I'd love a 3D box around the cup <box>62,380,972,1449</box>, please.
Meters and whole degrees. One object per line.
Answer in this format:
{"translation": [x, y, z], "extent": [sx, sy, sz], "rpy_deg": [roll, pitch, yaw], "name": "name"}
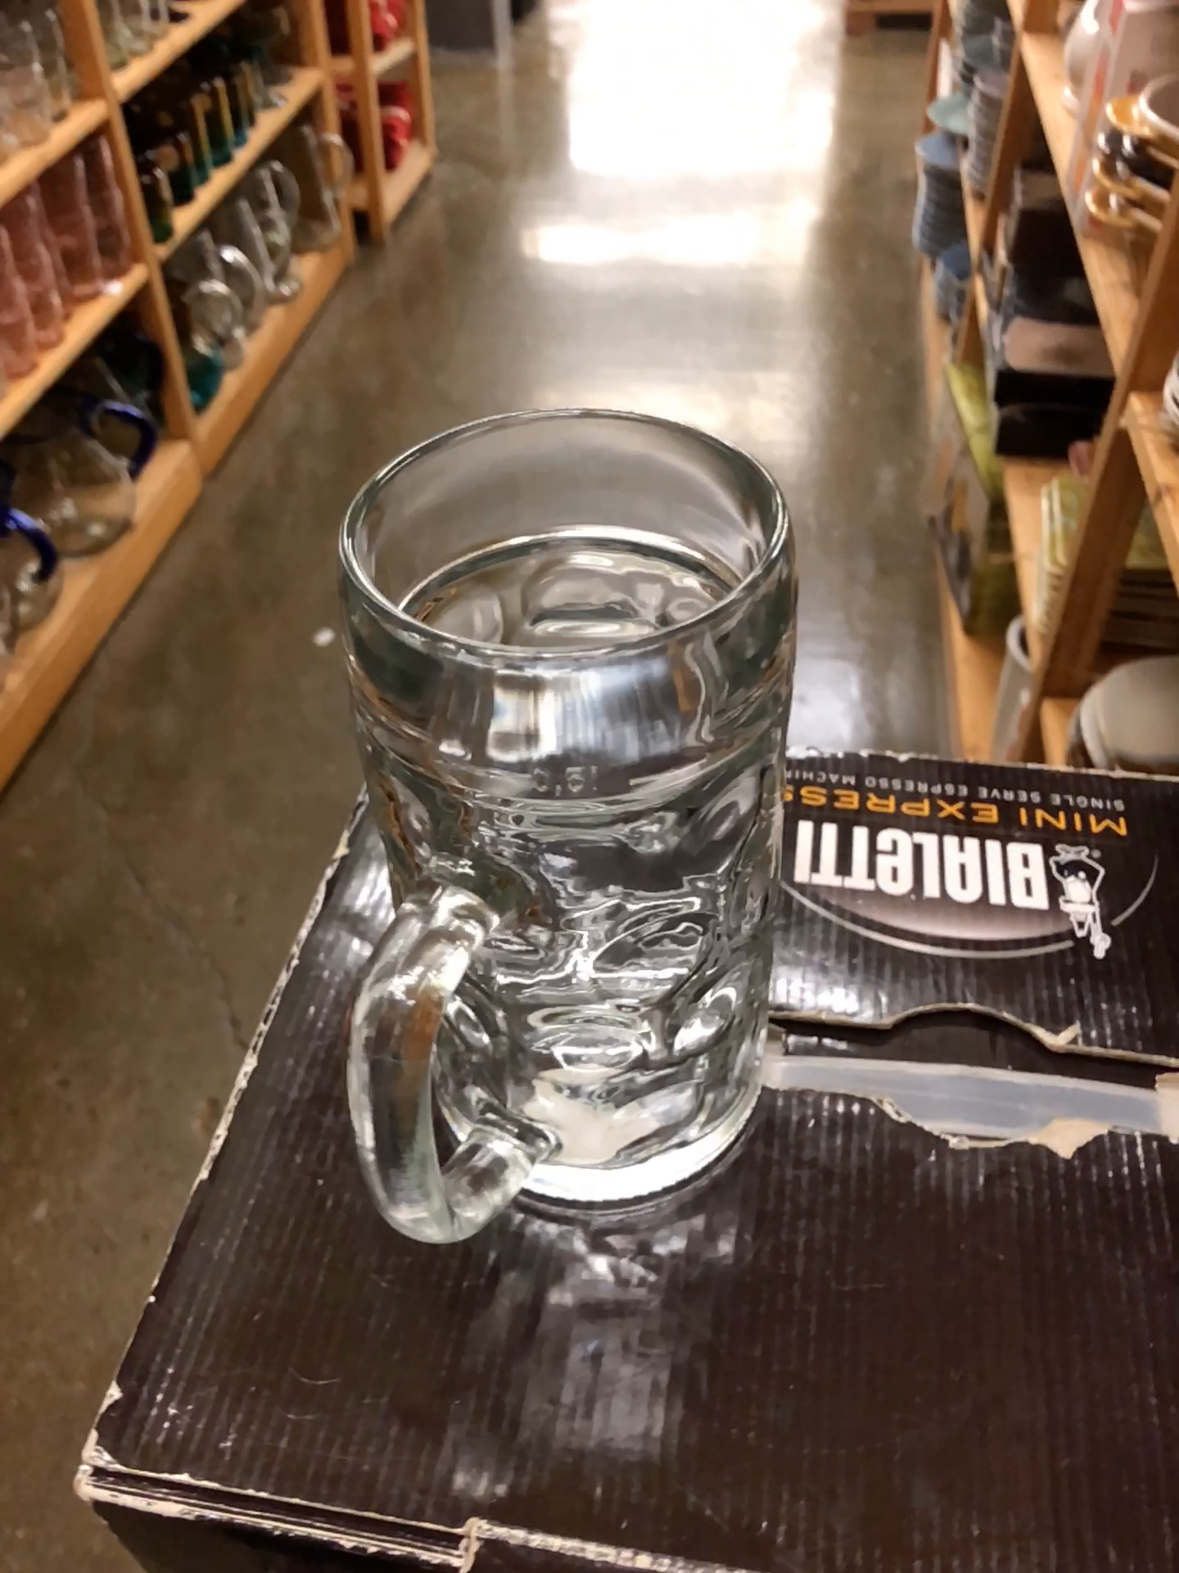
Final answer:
{"translation": [0.000, 0.021, 0.256], "extent": [0.100, 0.136, 0.129], "rpy_deg": [15, 47, 17], "name": "cup"}
